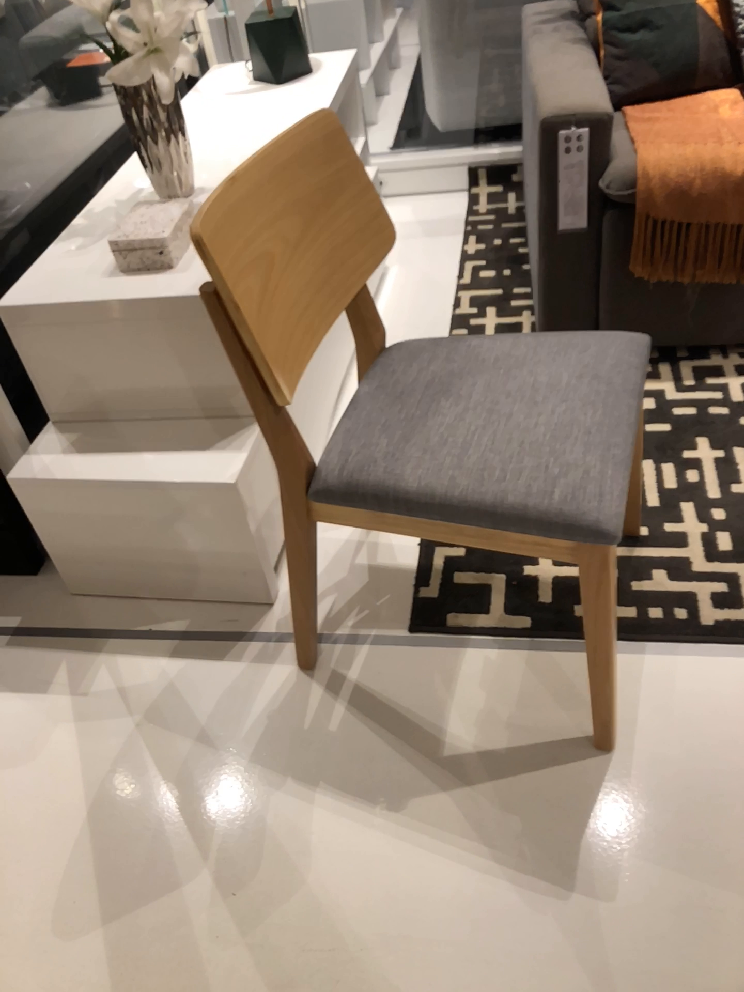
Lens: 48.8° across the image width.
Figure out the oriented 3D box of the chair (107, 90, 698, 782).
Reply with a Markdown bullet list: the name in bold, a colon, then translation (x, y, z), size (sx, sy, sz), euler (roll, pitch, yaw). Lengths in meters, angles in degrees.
- **chair**: translation (0.124, -0.085, 1.231), size (0.581, 0.794, 0.544), euler (6, 43, 18)
